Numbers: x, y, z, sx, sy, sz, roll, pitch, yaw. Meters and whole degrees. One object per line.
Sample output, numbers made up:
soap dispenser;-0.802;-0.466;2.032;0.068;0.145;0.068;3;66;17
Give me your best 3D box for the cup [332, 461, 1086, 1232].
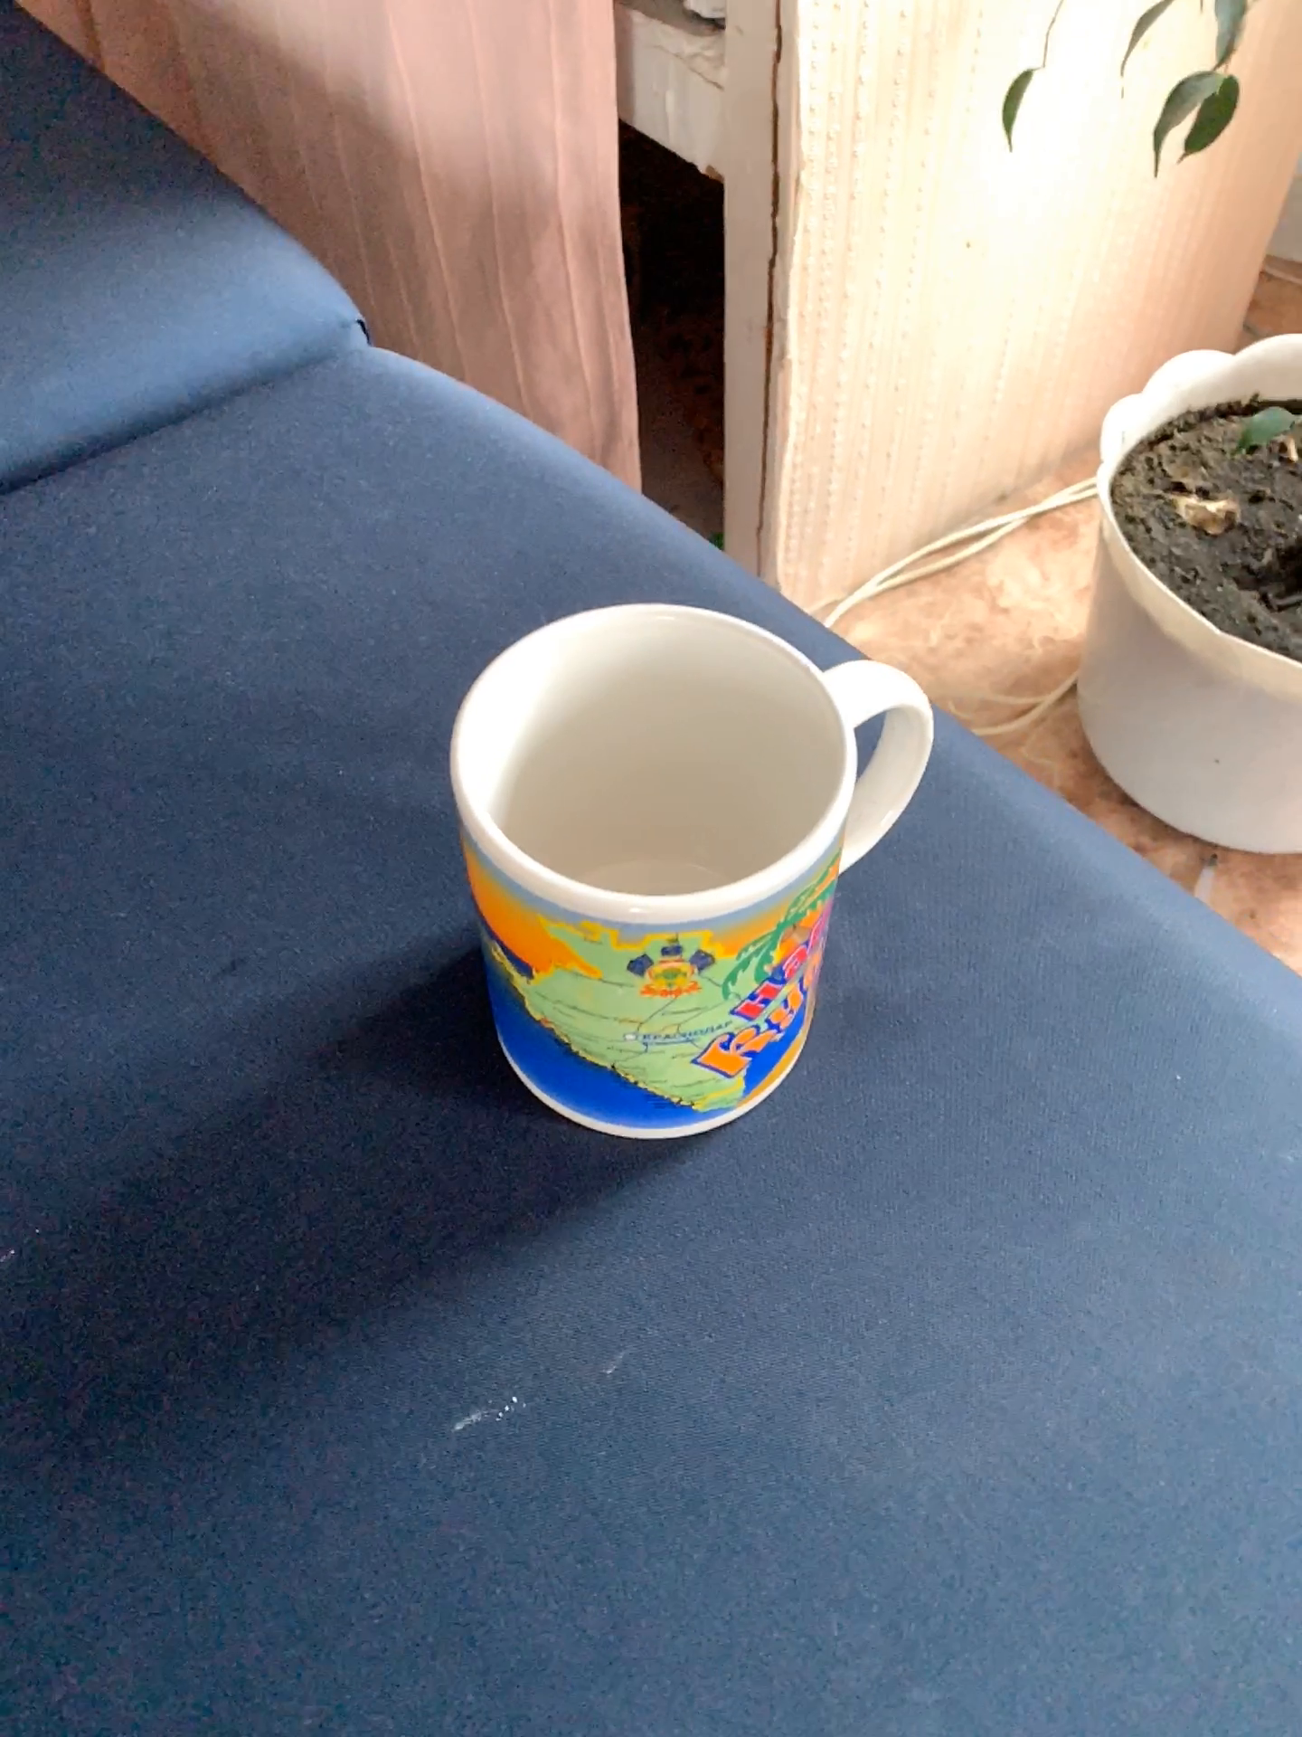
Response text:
cup;0.013;-0.006;0.307;0.120;0.099;0.090;-33;60;-20
